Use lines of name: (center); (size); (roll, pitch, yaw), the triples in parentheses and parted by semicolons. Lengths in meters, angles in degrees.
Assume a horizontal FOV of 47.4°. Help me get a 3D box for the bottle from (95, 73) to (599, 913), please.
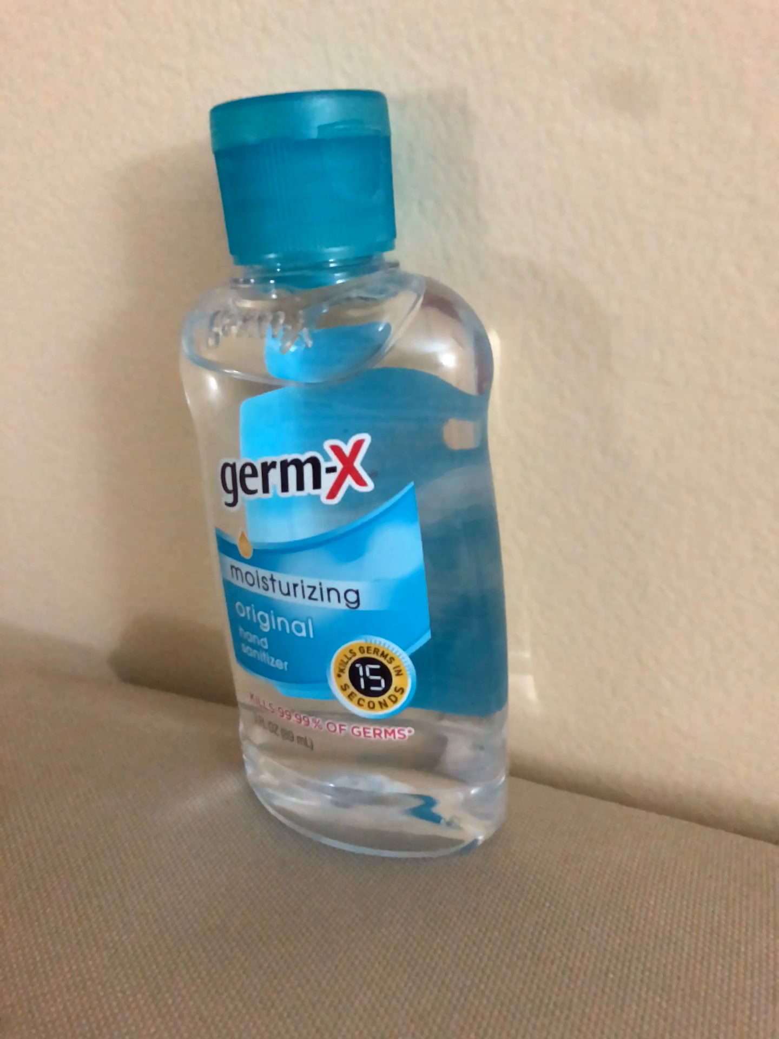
bottle: (-0.004, -0.003, 0.136); (0.060, 0.110, 0.030); (8, 22, 26)
